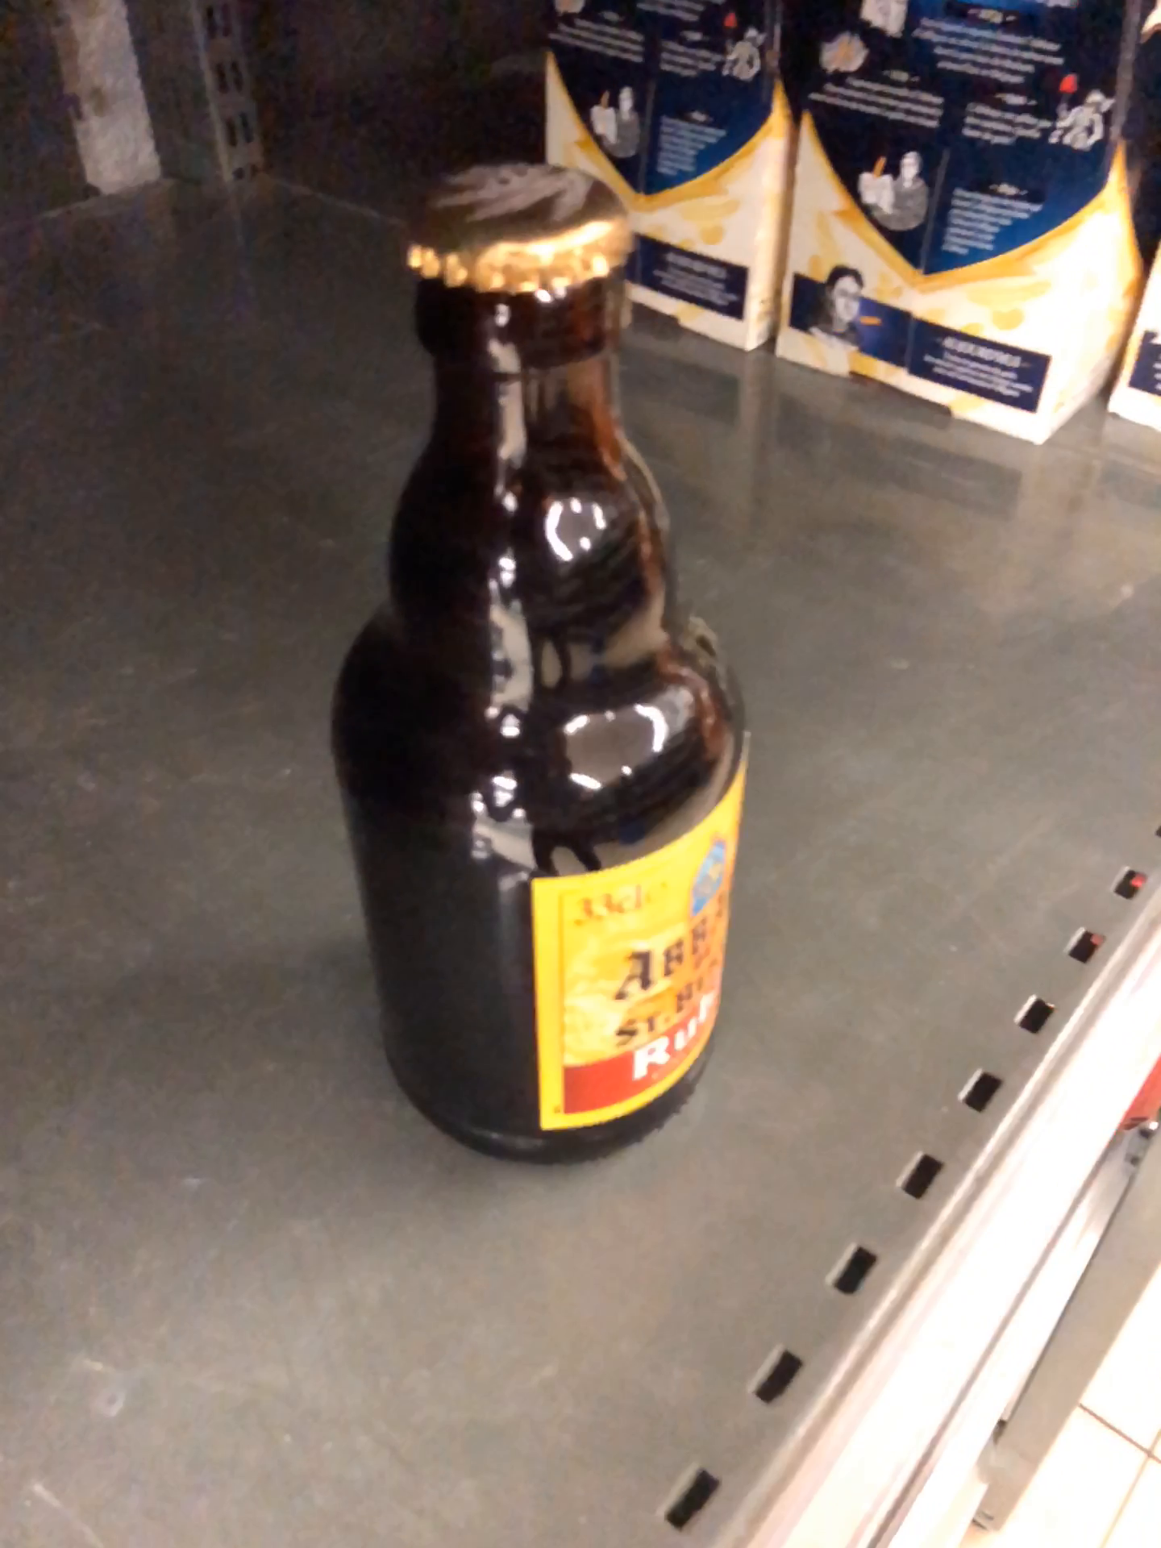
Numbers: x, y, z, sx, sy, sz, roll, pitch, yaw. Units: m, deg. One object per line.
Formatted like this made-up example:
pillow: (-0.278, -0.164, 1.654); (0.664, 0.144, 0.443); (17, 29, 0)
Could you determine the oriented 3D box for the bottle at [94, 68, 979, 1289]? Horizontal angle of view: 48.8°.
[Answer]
bottle: (-0.002, -0.007, 0.209); (0.070, 0.169, 0.080); (29, 50, 29)
